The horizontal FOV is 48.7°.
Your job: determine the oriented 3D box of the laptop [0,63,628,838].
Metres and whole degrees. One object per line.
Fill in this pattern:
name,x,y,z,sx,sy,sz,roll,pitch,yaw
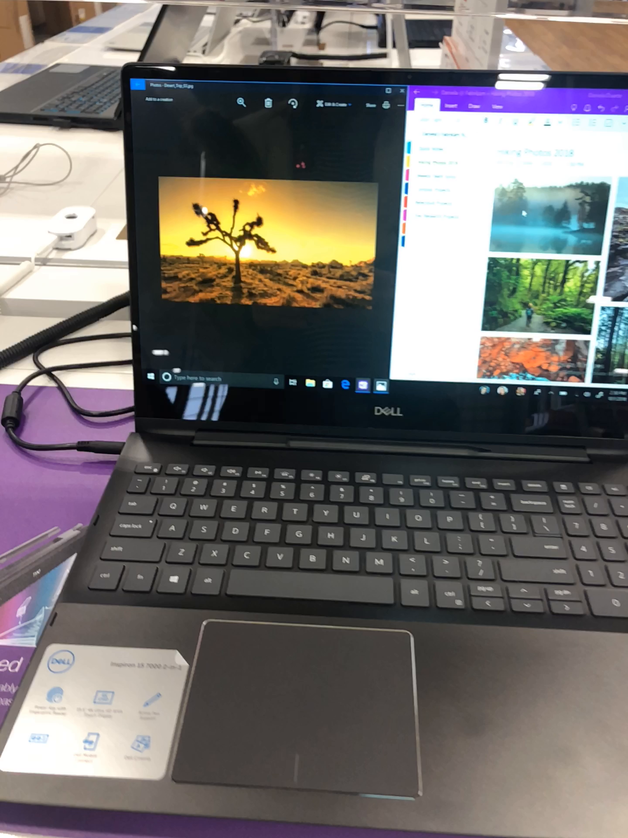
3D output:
laptop,0.046,-0.025,0.341,0.340,0.207,0.325,2,37,2
